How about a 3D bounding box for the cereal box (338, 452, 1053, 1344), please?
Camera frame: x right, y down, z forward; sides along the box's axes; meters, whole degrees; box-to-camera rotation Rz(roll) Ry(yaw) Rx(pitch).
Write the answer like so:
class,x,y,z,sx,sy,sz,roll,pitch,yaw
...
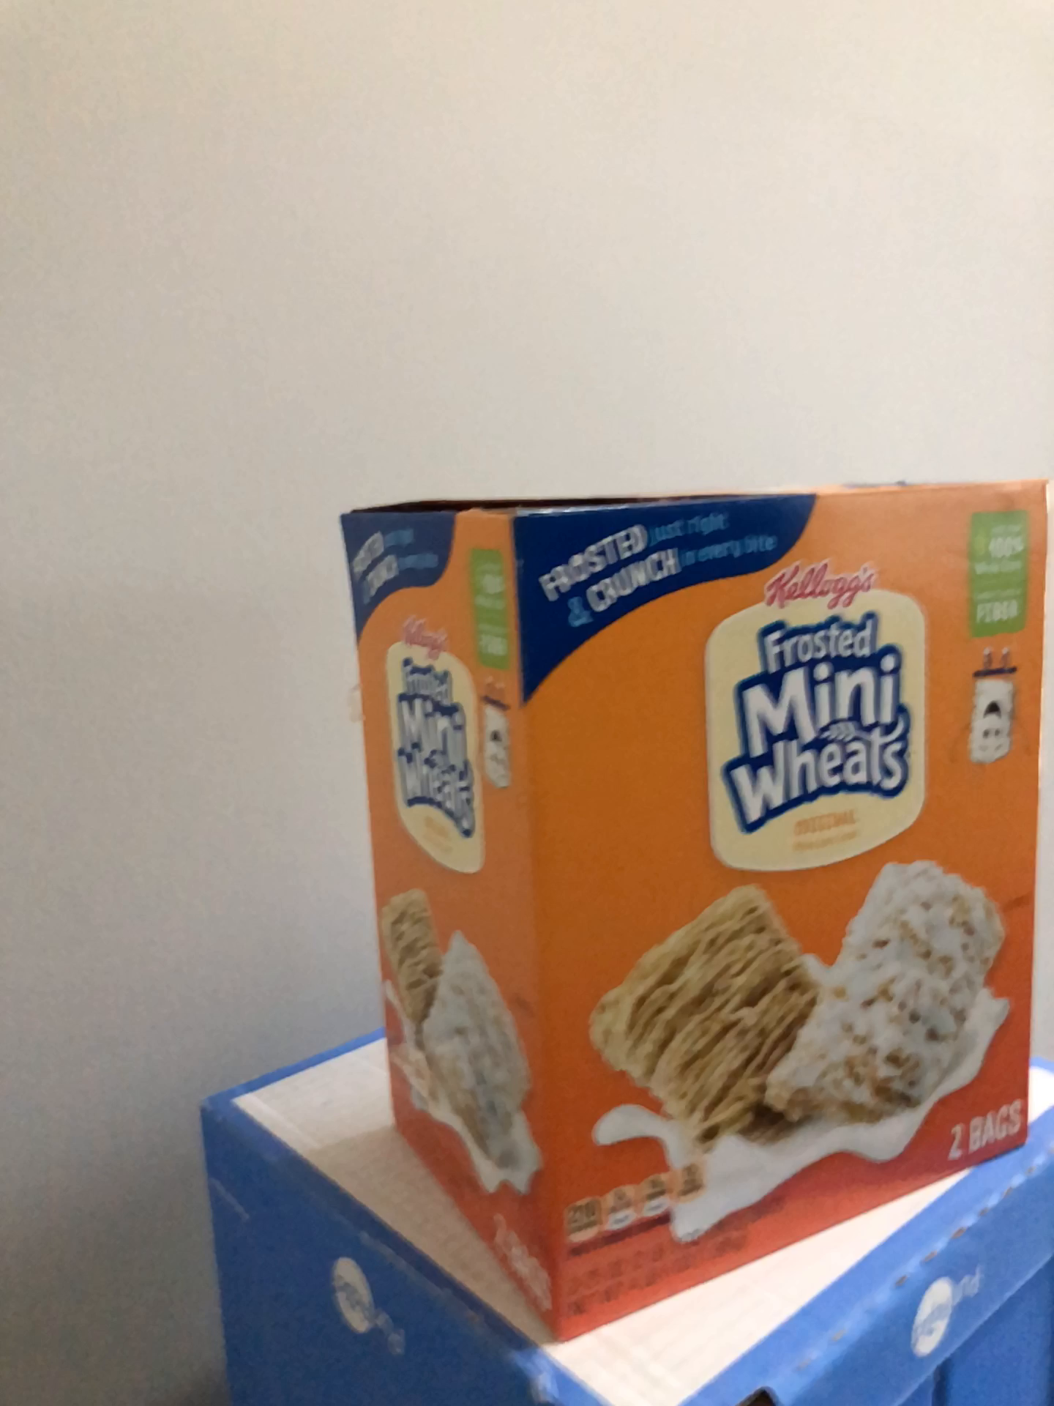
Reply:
class,x,y,z,sx,sy,sz,roll,pitch,yaw
cereal box,0.076,0.048,0.498,0.250,0.289,0.160,-8,12,-26
